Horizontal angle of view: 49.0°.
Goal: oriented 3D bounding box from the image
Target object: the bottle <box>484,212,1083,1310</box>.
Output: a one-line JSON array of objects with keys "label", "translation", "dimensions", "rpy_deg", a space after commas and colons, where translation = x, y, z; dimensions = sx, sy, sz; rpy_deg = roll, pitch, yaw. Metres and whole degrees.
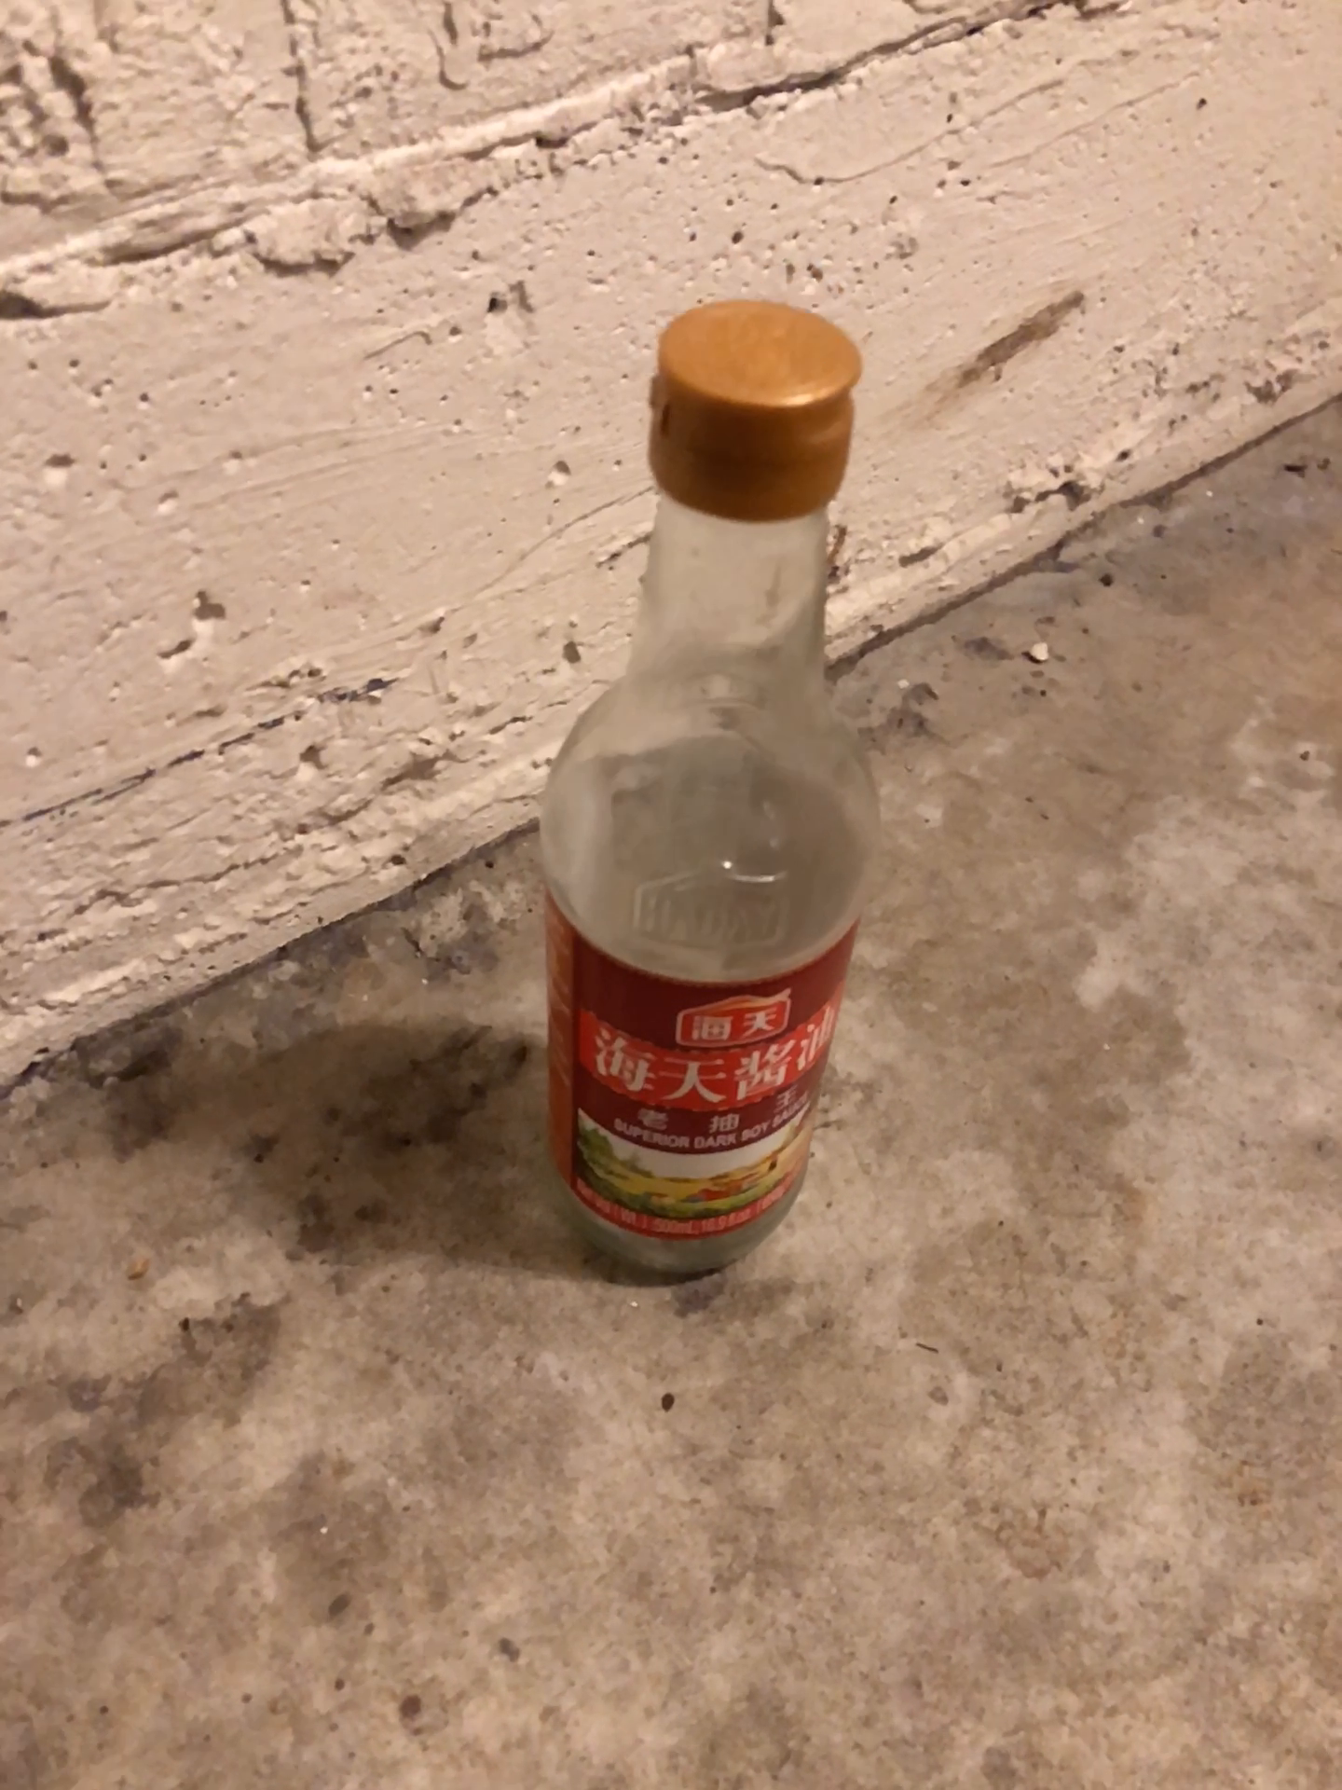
[{"label": "bottle", "translation": [0.009, -0.005, 0.296], "dimensions": [0.070, 0.229, 0.070], "rpy_deg": [1, 50, -1]}]
